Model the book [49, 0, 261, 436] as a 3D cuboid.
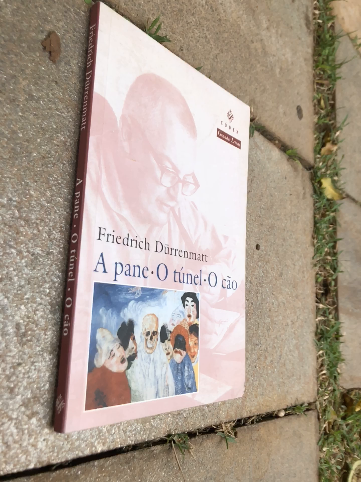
[{"bbox_3d":[0.002,-0.009,0.233,0.141,0.015,0.199,14,75,-47],"label":"book"}]
